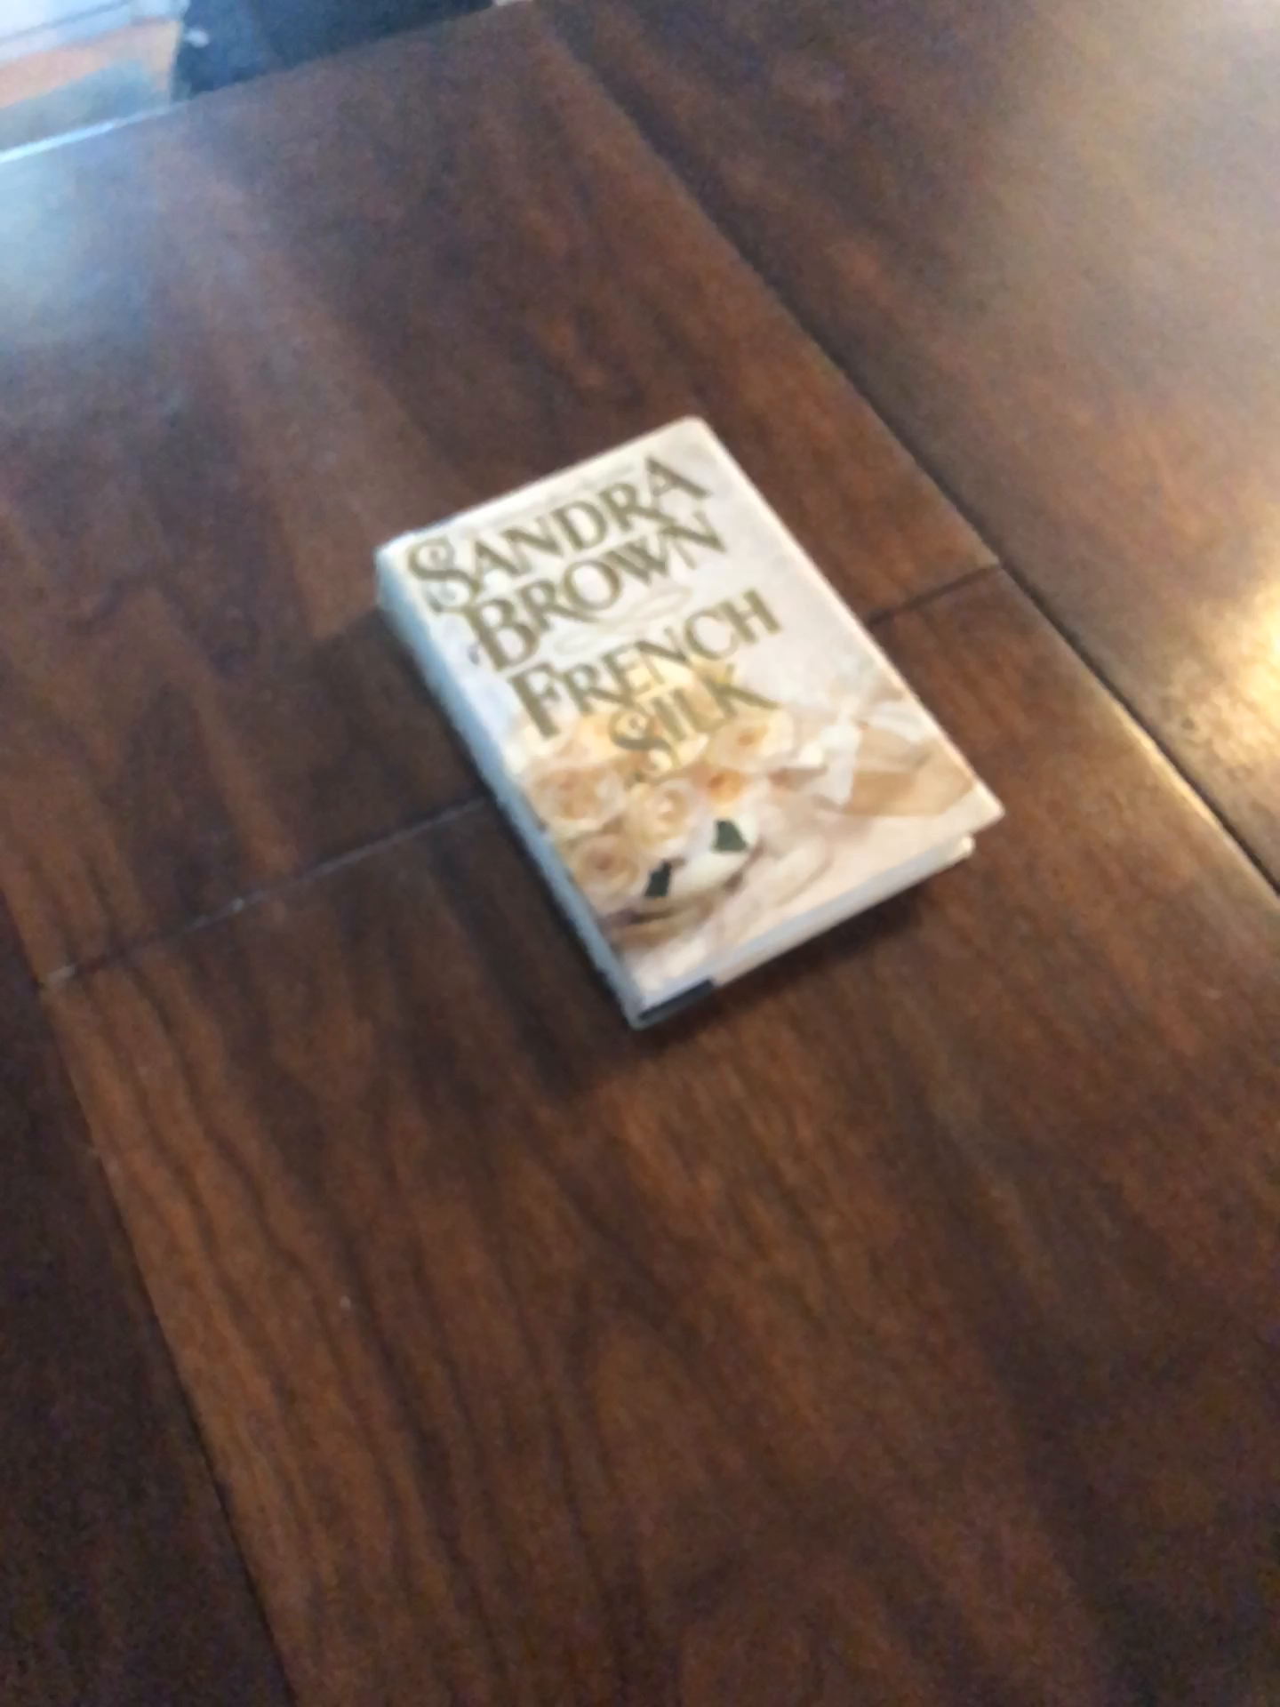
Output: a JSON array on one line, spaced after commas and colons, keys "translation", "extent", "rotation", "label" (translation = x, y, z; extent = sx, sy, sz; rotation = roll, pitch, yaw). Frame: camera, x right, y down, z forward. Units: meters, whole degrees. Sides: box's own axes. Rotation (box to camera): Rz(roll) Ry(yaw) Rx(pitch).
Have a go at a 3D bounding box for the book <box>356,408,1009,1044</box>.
[{"translation": [0.010, -0.064, 0.587], "extent": [0.161, 0.033, 0.240], "rotation": [-26, 65, -14], "label": "book"}]
